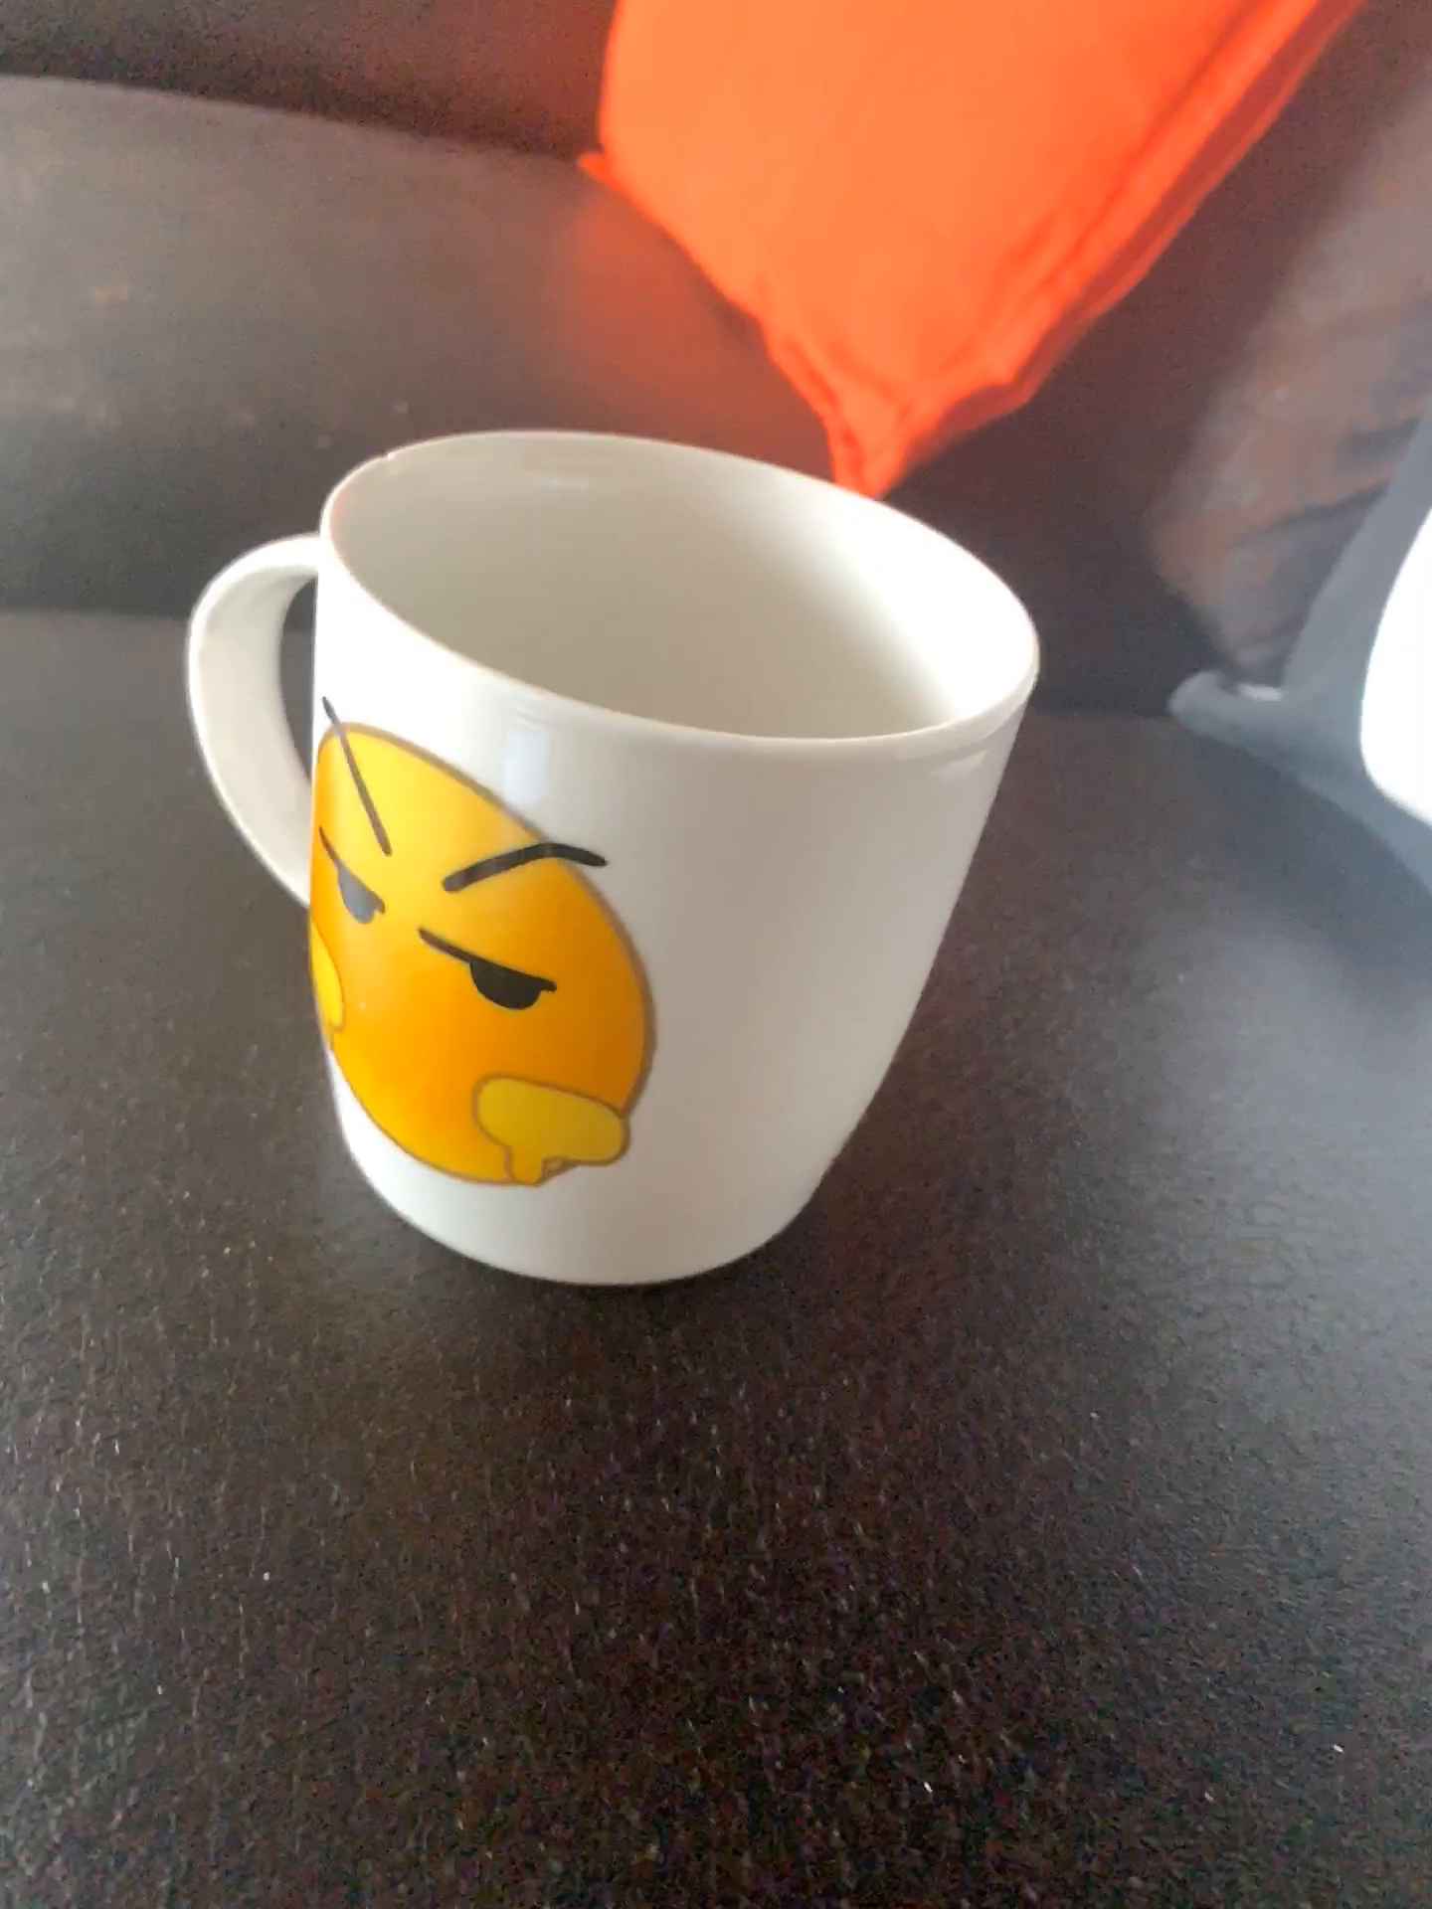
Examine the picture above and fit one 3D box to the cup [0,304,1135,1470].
[{"bbox_3d":[-0.027,-0.018,0.213,0.120,0.099,0.081,31,39,21],"label":"cup"}]
